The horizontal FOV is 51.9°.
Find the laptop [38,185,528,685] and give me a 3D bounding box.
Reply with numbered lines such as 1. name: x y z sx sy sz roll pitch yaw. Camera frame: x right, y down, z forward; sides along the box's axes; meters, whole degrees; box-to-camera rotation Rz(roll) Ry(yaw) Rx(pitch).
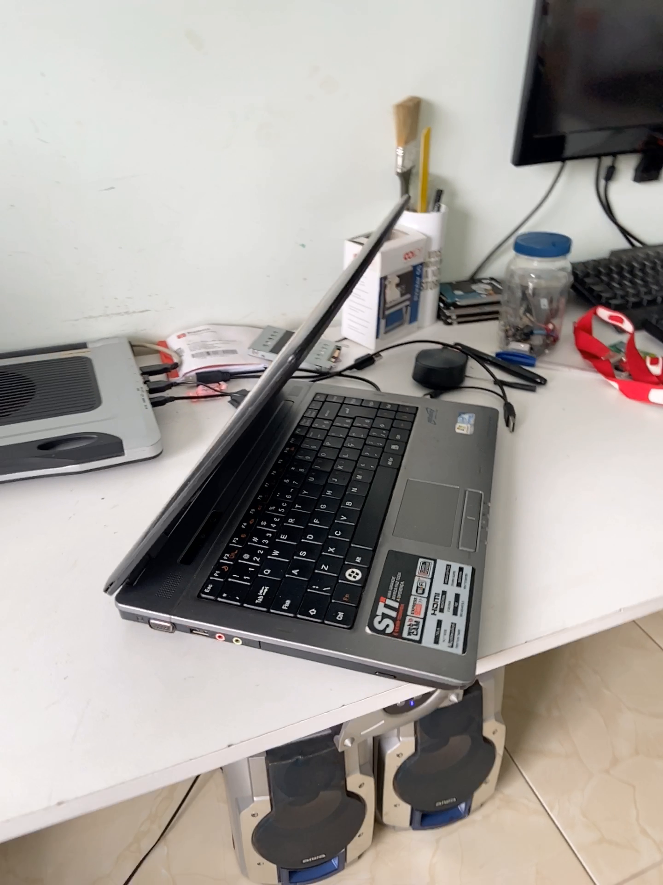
1. laptop: 0.009 -0.046 0.520 0.241 0.200 0.344 9 33 12
